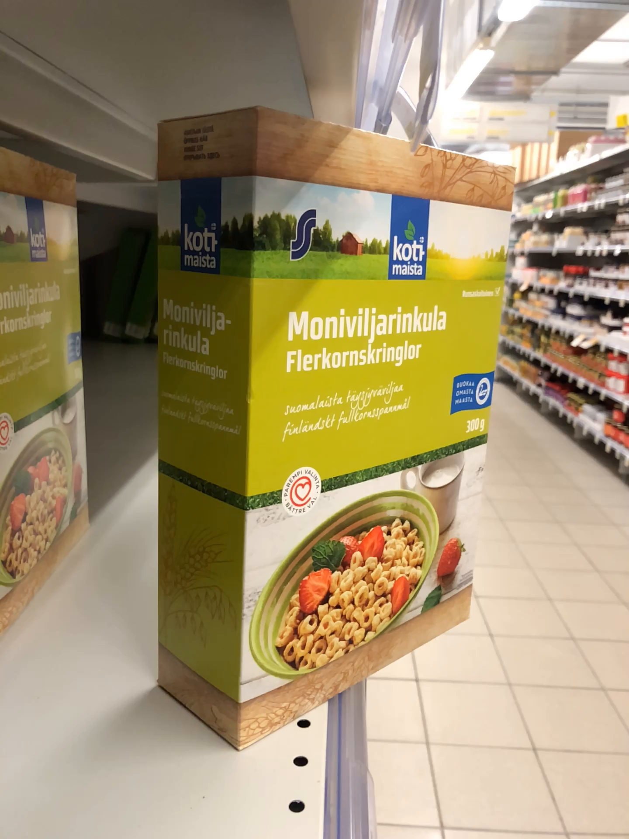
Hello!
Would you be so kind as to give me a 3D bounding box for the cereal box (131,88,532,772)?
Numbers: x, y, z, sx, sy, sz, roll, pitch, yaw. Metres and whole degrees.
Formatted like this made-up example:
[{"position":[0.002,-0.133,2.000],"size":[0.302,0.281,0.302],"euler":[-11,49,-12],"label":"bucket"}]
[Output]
[{"position":[0.015,-0.002,0.346],"size":[0.190,0.259,0.070],"euler":[-10,17,-43],"label":"cereal box"}]
